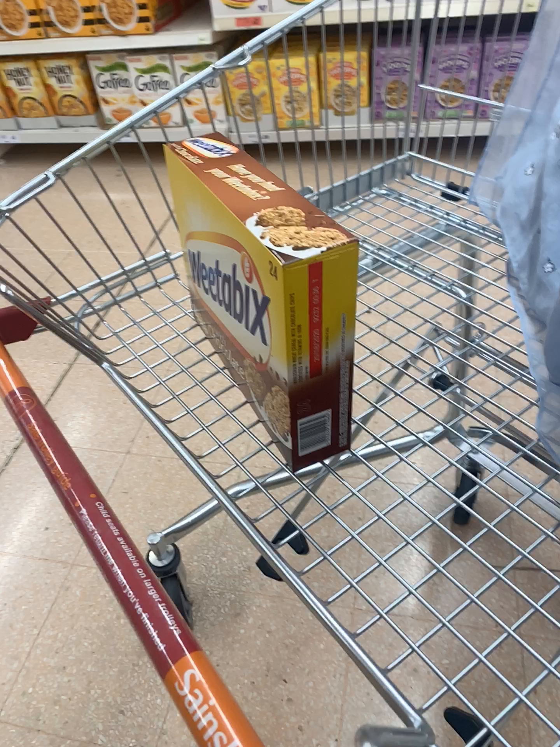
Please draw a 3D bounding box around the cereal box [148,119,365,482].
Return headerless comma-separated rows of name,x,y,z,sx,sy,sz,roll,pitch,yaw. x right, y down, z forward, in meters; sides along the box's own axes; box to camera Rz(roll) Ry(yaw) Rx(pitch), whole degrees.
cereal box,-0.026,-0.071,0.473,0.060,0.188,0.252,-20,44,-16
